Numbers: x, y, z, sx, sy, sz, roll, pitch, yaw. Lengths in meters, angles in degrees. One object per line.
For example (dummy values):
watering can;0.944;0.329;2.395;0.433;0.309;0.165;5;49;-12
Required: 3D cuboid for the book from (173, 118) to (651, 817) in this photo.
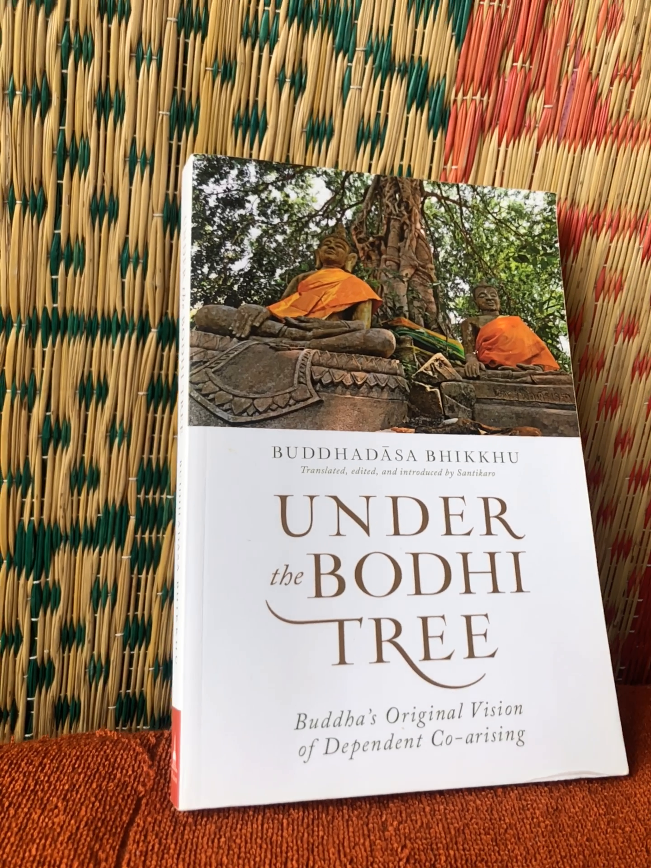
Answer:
book;0.028;0.003;0.268;0.160;0.231;0.030;1;-13;-13
